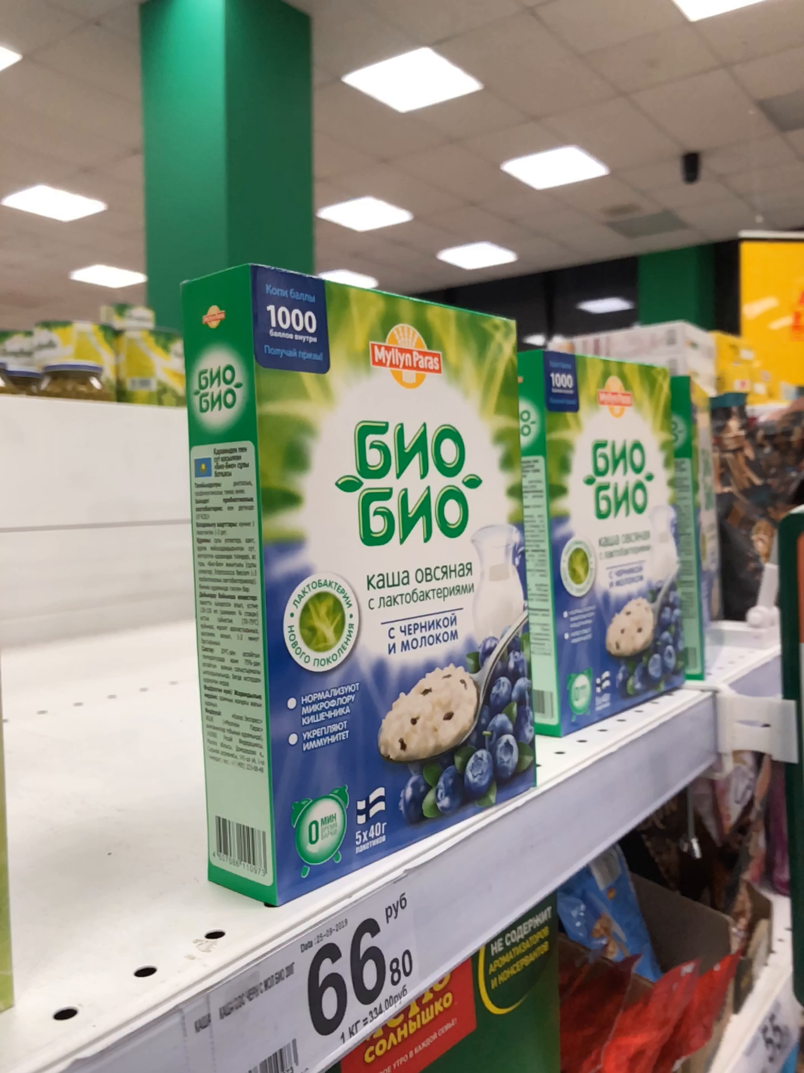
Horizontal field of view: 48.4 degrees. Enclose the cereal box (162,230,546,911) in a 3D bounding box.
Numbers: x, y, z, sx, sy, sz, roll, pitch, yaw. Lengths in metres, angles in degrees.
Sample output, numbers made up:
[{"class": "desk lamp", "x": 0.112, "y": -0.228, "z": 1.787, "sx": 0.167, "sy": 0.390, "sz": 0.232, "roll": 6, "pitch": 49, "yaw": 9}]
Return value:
[{"class": "cereal box", "x": -0.008, "y": 0.007, "z": 0.349, "sx": 0.040, "sy": 0.210, "sz": 0.160, "roll": -2, "pitch": 1, "yaw": 42}]
